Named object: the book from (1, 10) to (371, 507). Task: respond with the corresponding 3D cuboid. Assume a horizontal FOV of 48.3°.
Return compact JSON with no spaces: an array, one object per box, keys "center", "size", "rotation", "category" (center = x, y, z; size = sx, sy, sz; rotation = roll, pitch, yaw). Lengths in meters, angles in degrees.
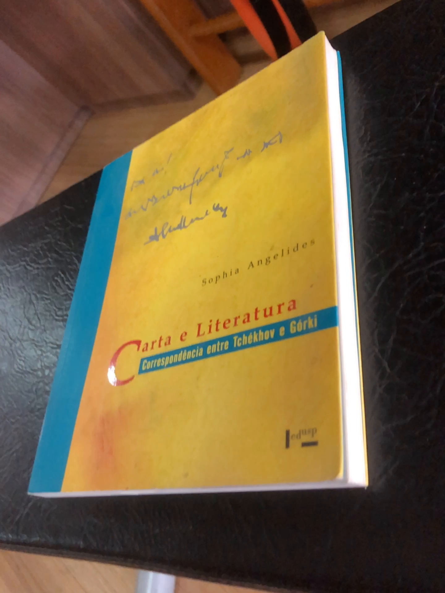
[{"center":[-0.023,-0.013,0.238],"size":[0.173,0.024,0.208],"rotation":[-18,55,36],"category":"book"}]
